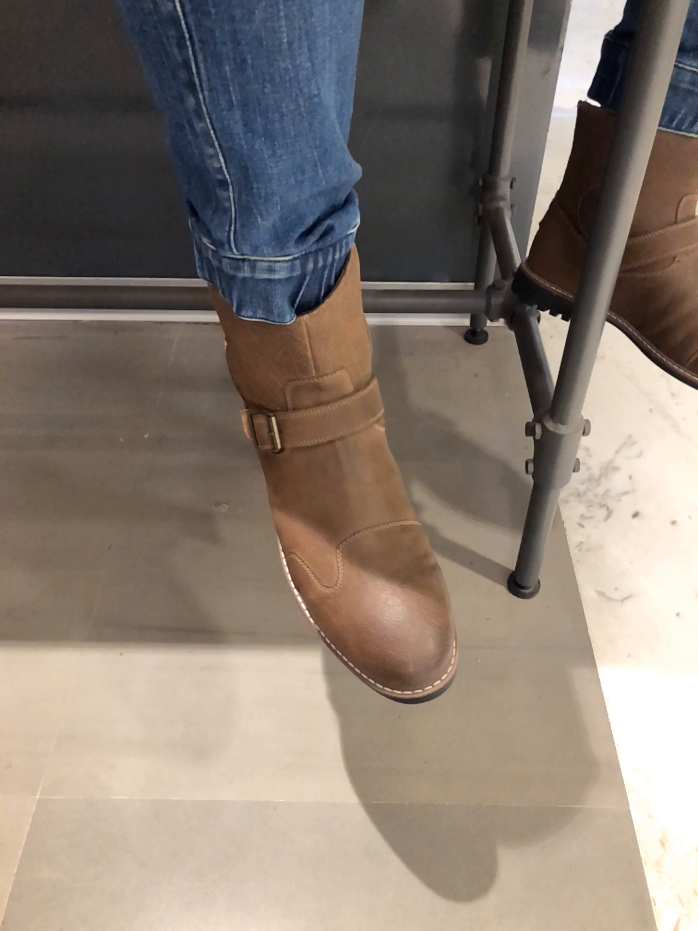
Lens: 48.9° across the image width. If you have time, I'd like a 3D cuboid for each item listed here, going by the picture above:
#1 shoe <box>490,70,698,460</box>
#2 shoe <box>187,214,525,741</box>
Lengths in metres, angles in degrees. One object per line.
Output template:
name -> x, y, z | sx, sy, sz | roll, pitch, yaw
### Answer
shoe -> 0.324, -0.191, 0.698 | 0.324, 0.206, 0.114 | 34, 43, 21
shoe -> -0.007, 0.000, 0.522 | 0.109, 0.206, 0.275 | -17, 48, -11
